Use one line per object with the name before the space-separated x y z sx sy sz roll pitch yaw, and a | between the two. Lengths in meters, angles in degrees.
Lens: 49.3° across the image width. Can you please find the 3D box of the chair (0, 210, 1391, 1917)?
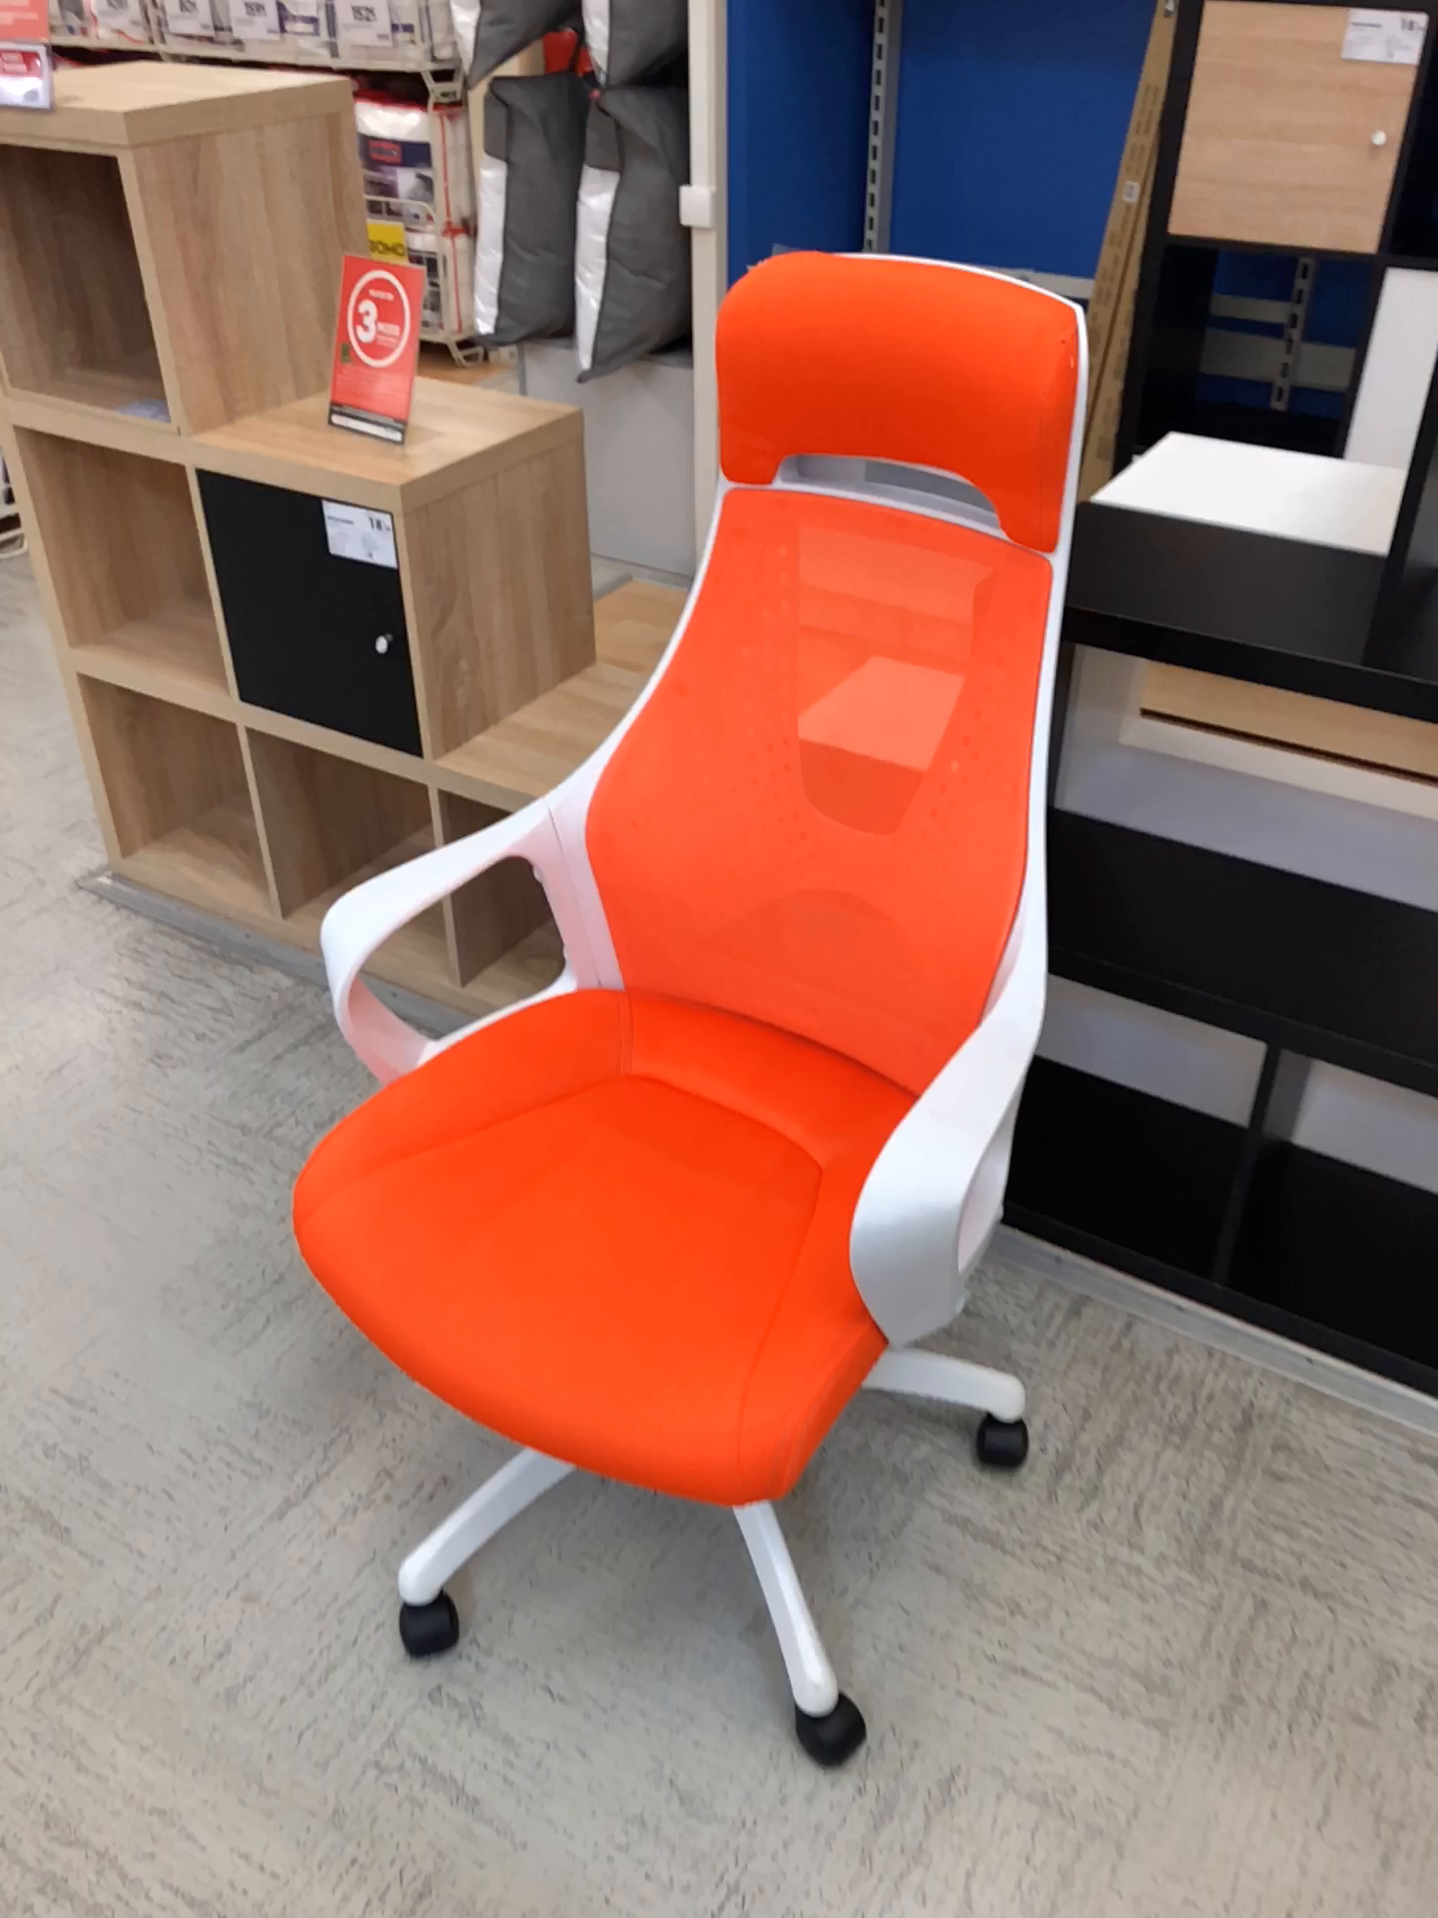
chair | -0.010 0.030 1.320 0.680 1.053 0.755 21 39 28
